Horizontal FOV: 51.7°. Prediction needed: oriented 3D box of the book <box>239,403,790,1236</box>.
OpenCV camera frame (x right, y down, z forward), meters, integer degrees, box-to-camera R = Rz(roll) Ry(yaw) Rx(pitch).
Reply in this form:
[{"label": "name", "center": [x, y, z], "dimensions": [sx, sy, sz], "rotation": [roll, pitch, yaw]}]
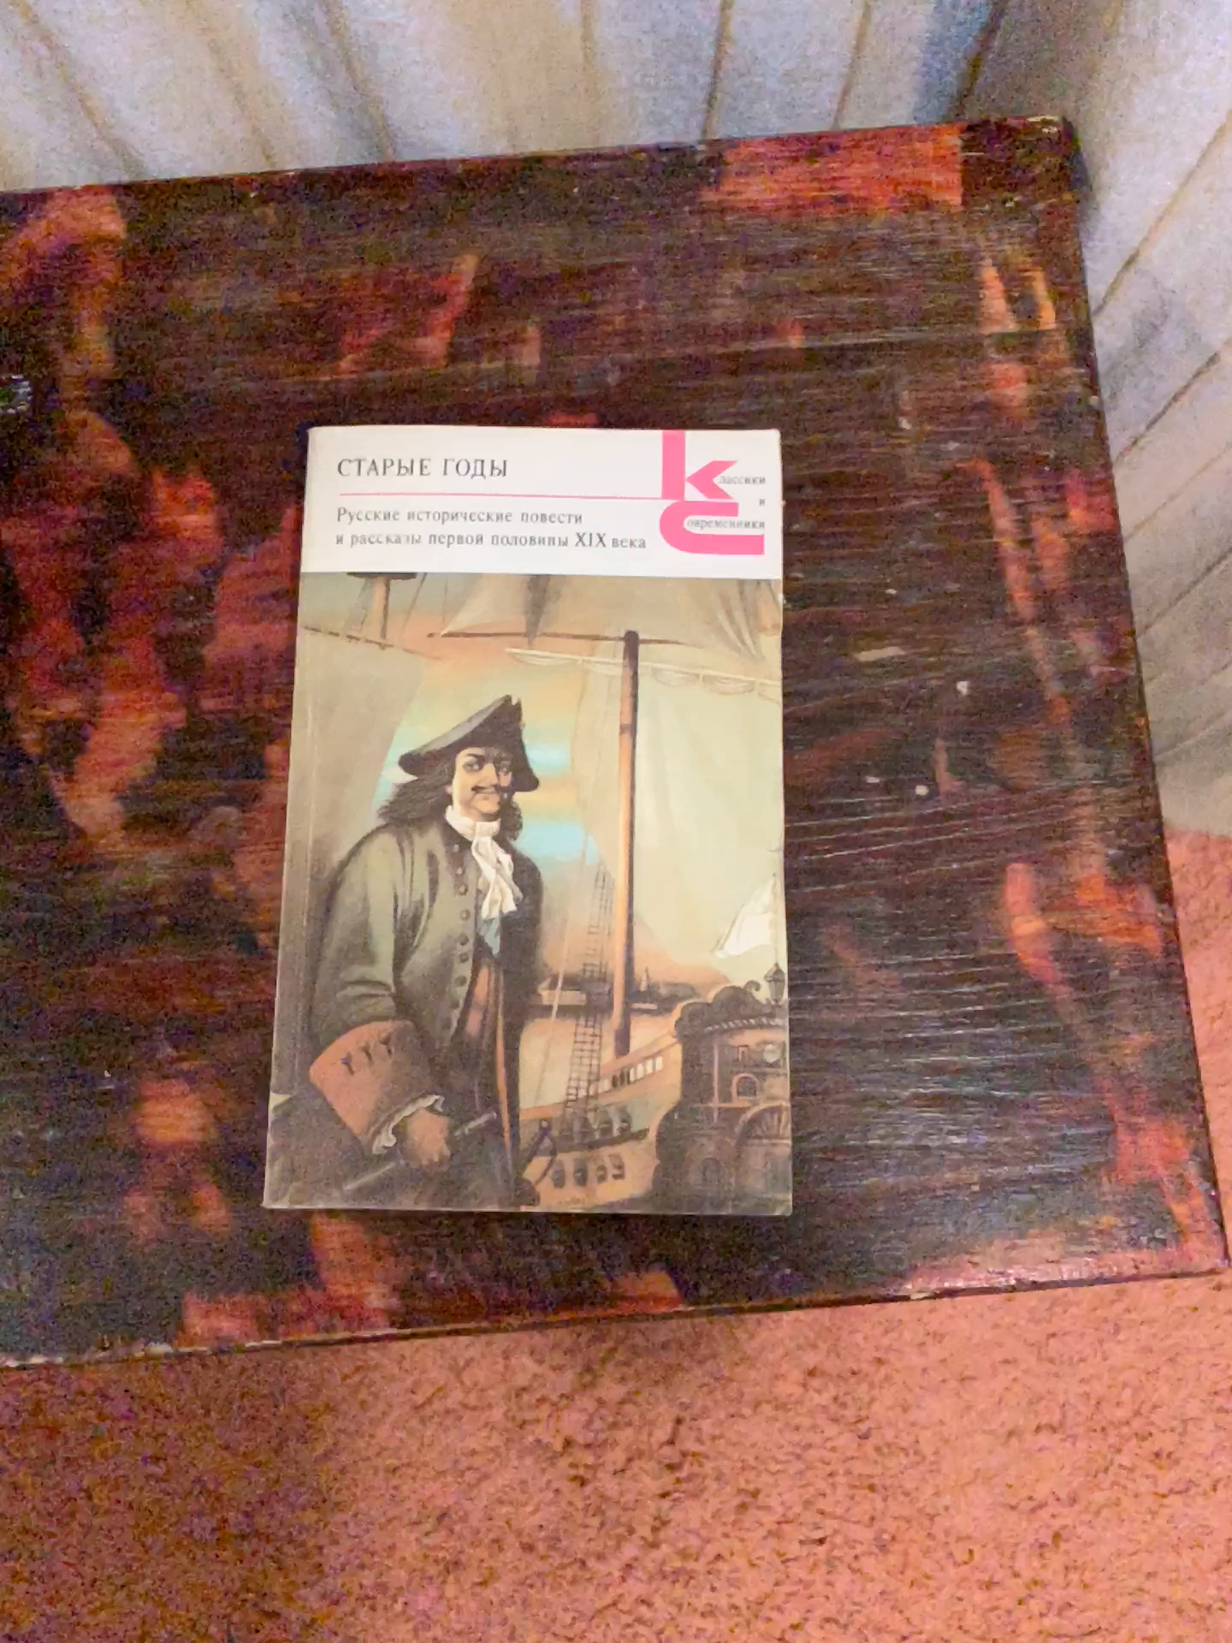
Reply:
[{"label": "book", "center": [-0.022, -0.004, 0.312], "dimensions": [0.123, 0.026, 0.197], "rotation": [0, 81, 1]}]
